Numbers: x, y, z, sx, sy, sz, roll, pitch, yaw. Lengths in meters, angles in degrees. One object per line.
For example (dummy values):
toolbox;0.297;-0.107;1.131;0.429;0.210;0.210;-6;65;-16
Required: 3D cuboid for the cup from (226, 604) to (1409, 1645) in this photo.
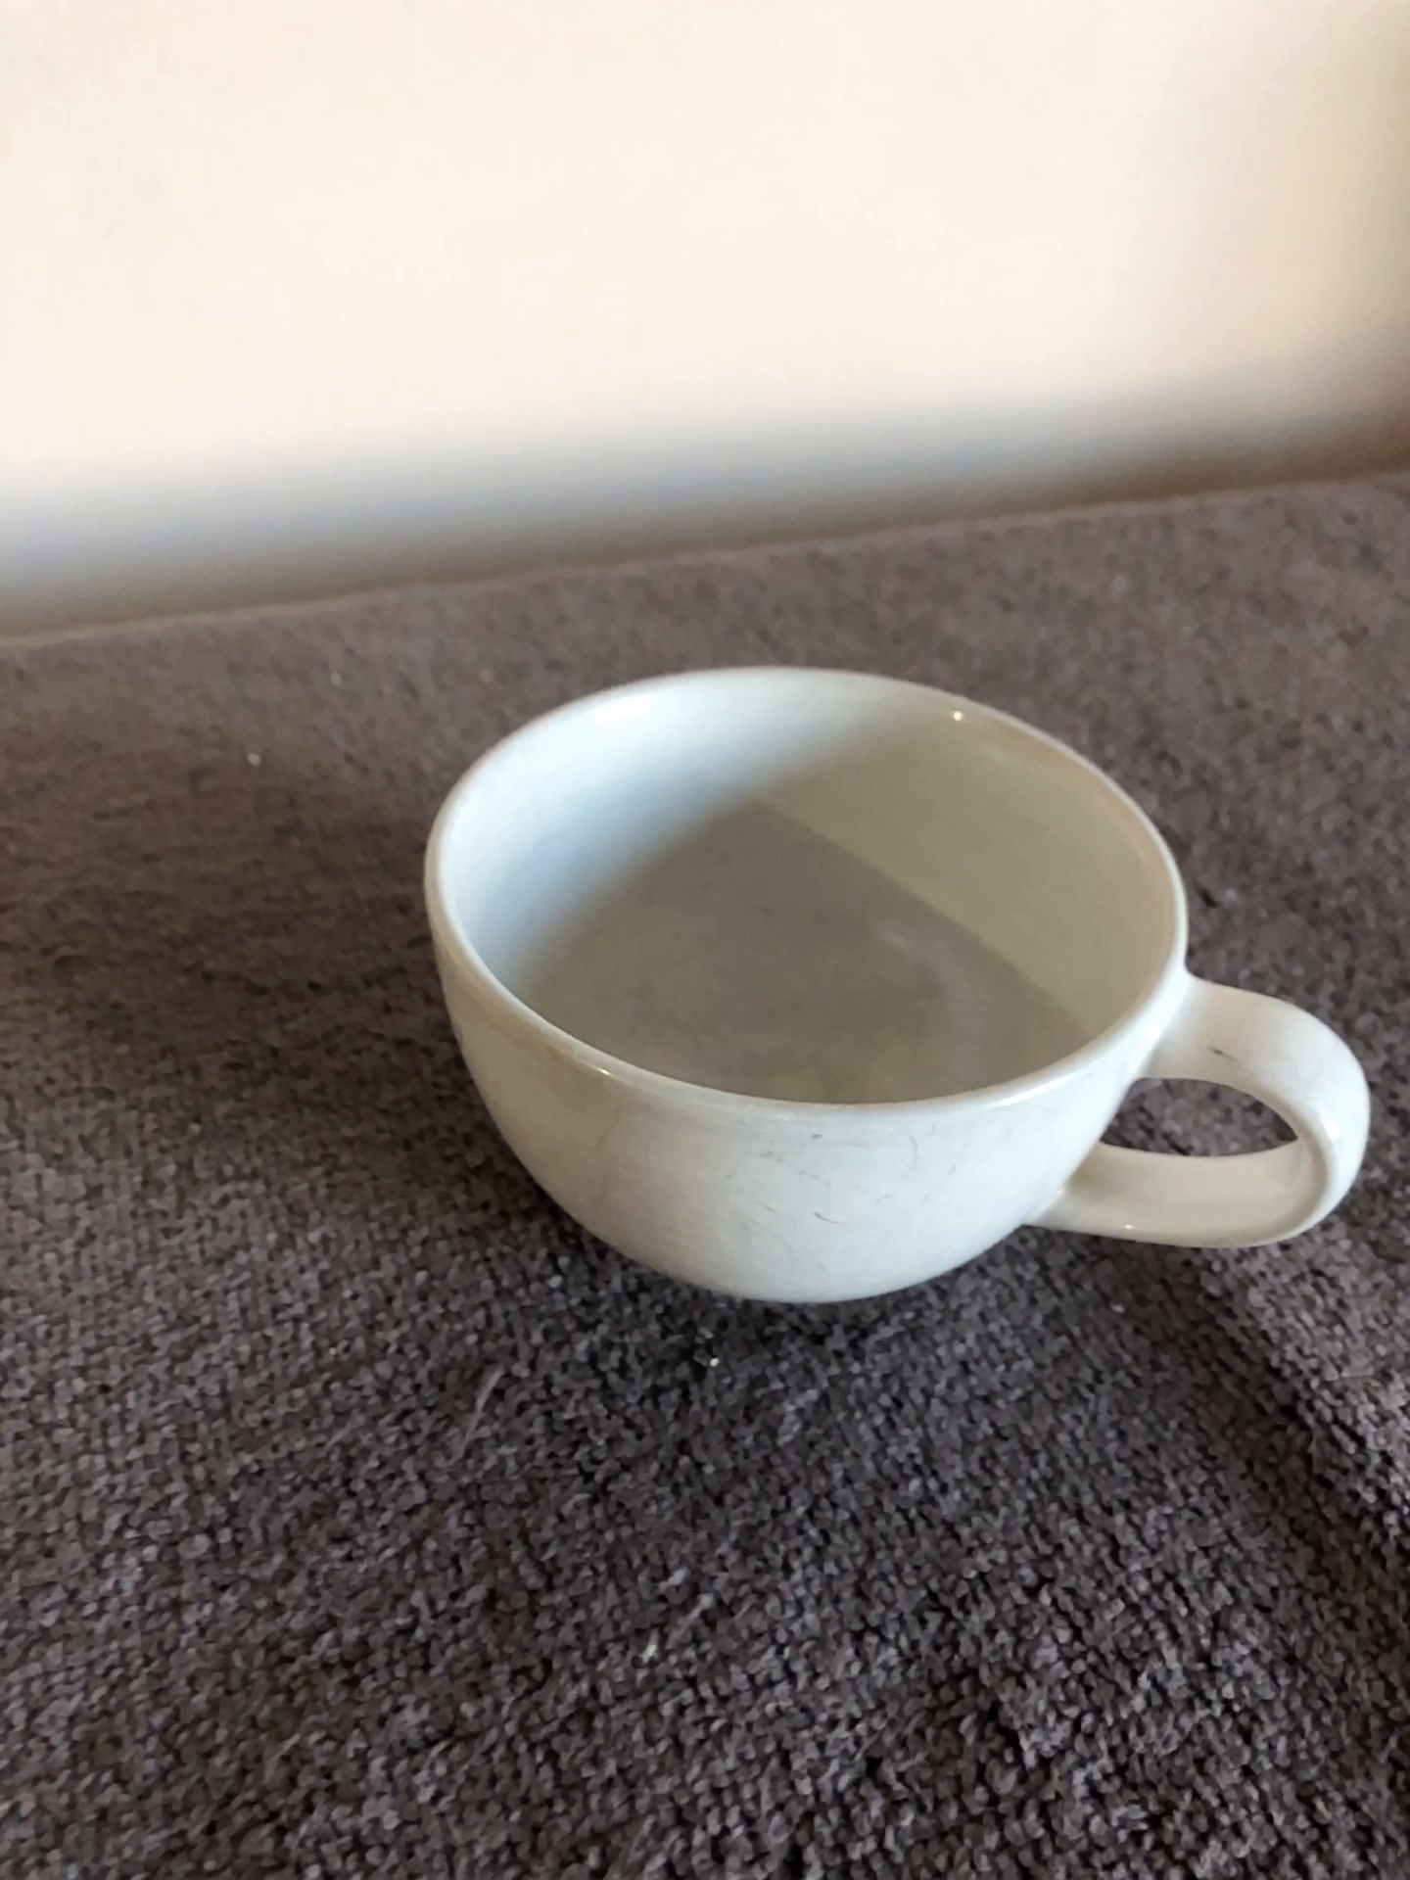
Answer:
cup;0.020;0.012;0.205;0.120;0.050;0.090;19;42;19
